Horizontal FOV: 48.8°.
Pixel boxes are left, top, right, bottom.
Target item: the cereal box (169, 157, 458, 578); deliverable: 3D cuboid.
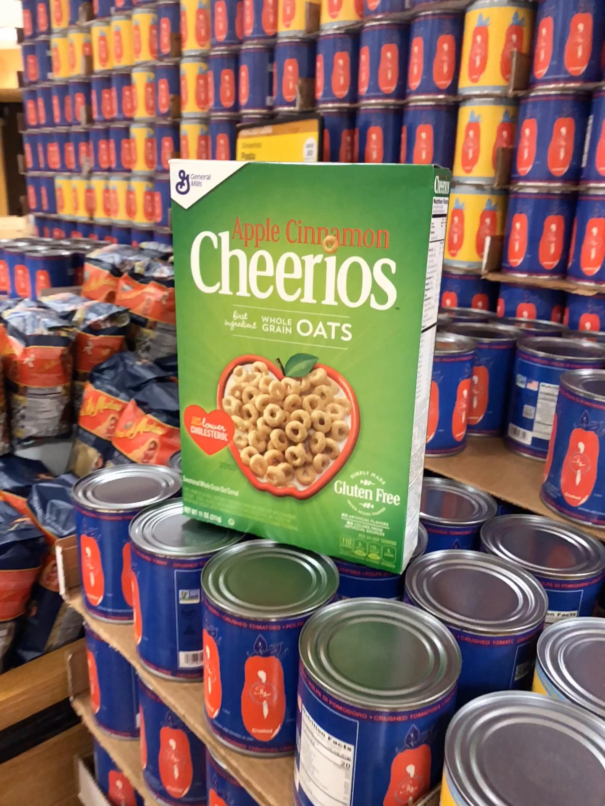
[{"bbox_3d":[-0.001,-0.033,0.509,0.200,0.288,0.050,10,19,24],"label":"cereal box"}]
